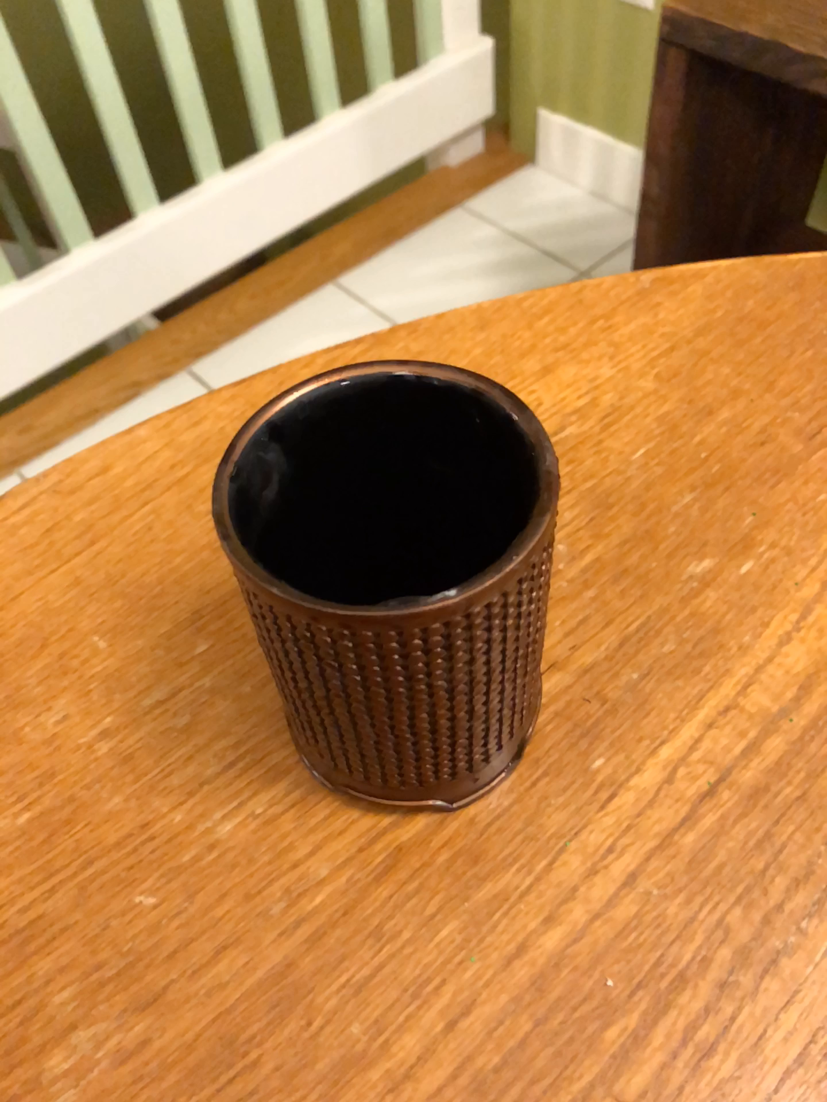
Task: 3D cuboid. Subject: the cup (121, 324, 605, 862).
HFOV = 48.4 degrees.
[{"bbox_3d":[-0.006,0.012,0.233,0.077,0.097,0.073,-3,52,3],"label":"cup"}]
